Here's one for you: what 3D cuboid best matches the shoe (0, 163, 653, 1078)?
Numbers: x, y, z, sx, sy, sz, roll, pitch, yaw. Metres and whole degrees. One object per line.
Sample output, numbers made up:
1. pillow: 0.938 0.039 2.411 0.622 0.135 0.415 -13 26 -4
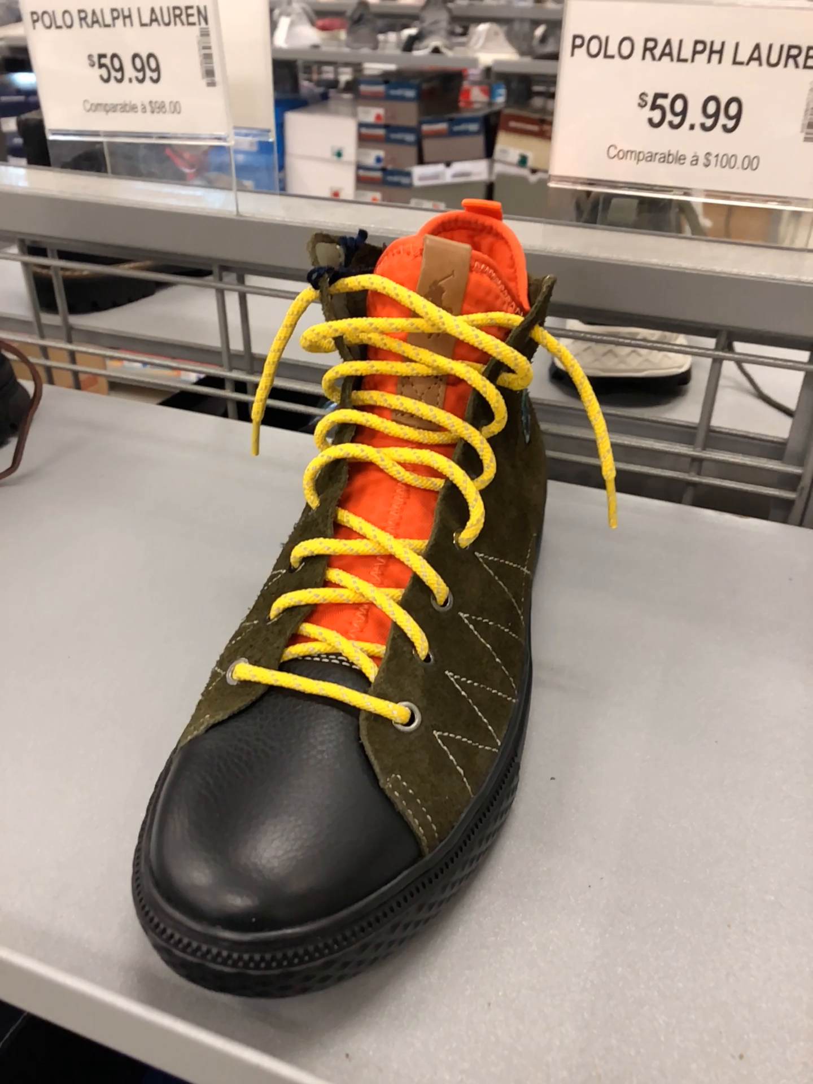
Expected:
1. shoe: 0.001 -0.018 0.329 0.125 0.171 0.300 10 33 14
